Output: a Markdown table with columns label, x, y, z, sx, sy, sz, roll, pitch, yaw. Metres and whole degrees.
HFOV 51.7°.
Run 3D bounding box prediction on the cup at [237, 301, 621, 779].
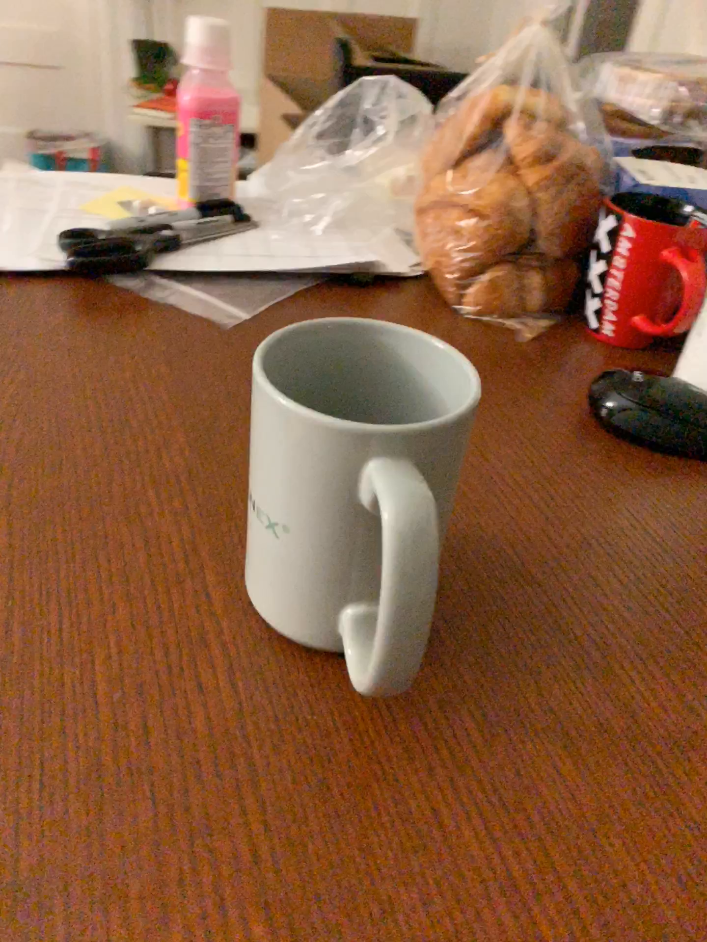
| label | x | y | z | sx | sy | sz | roll | pitch | yaw |
| --- | --- | --- | --- | --- | --- | --- | --- | --- | --- |
| cup | 0.009 | 0.019 | 0.277 | 0.100 | 0.109 | 0.141 | 2 | 36 | -9 |
